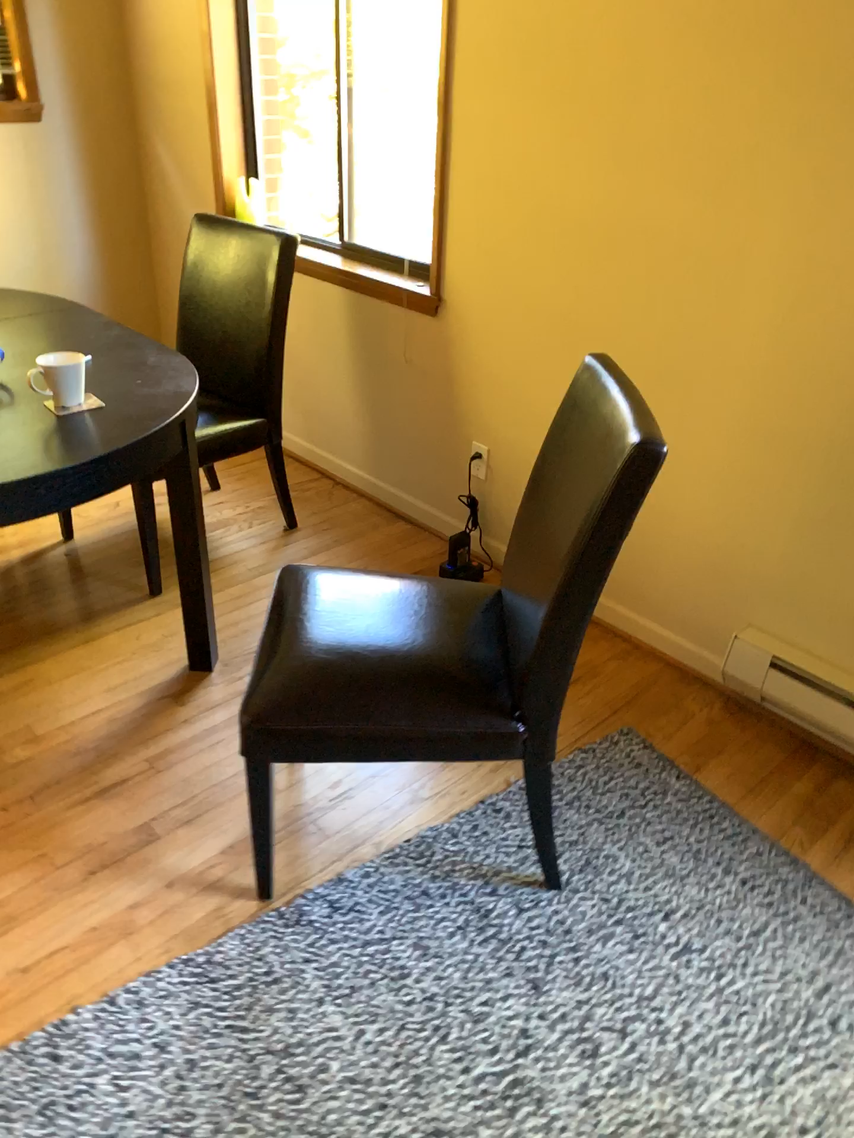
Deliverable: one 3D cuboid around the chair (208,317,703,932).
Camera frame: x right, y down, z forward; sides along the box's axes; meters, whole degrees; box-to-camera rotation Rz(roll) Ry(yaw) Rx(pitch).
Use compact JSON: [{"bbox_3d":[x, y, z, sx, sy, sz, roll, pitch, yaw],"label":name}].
[{"bbox_3d":[0.016,0.118,1.672,0.670,1.034,0.563,1,30,-2],"label":"chair"}]
